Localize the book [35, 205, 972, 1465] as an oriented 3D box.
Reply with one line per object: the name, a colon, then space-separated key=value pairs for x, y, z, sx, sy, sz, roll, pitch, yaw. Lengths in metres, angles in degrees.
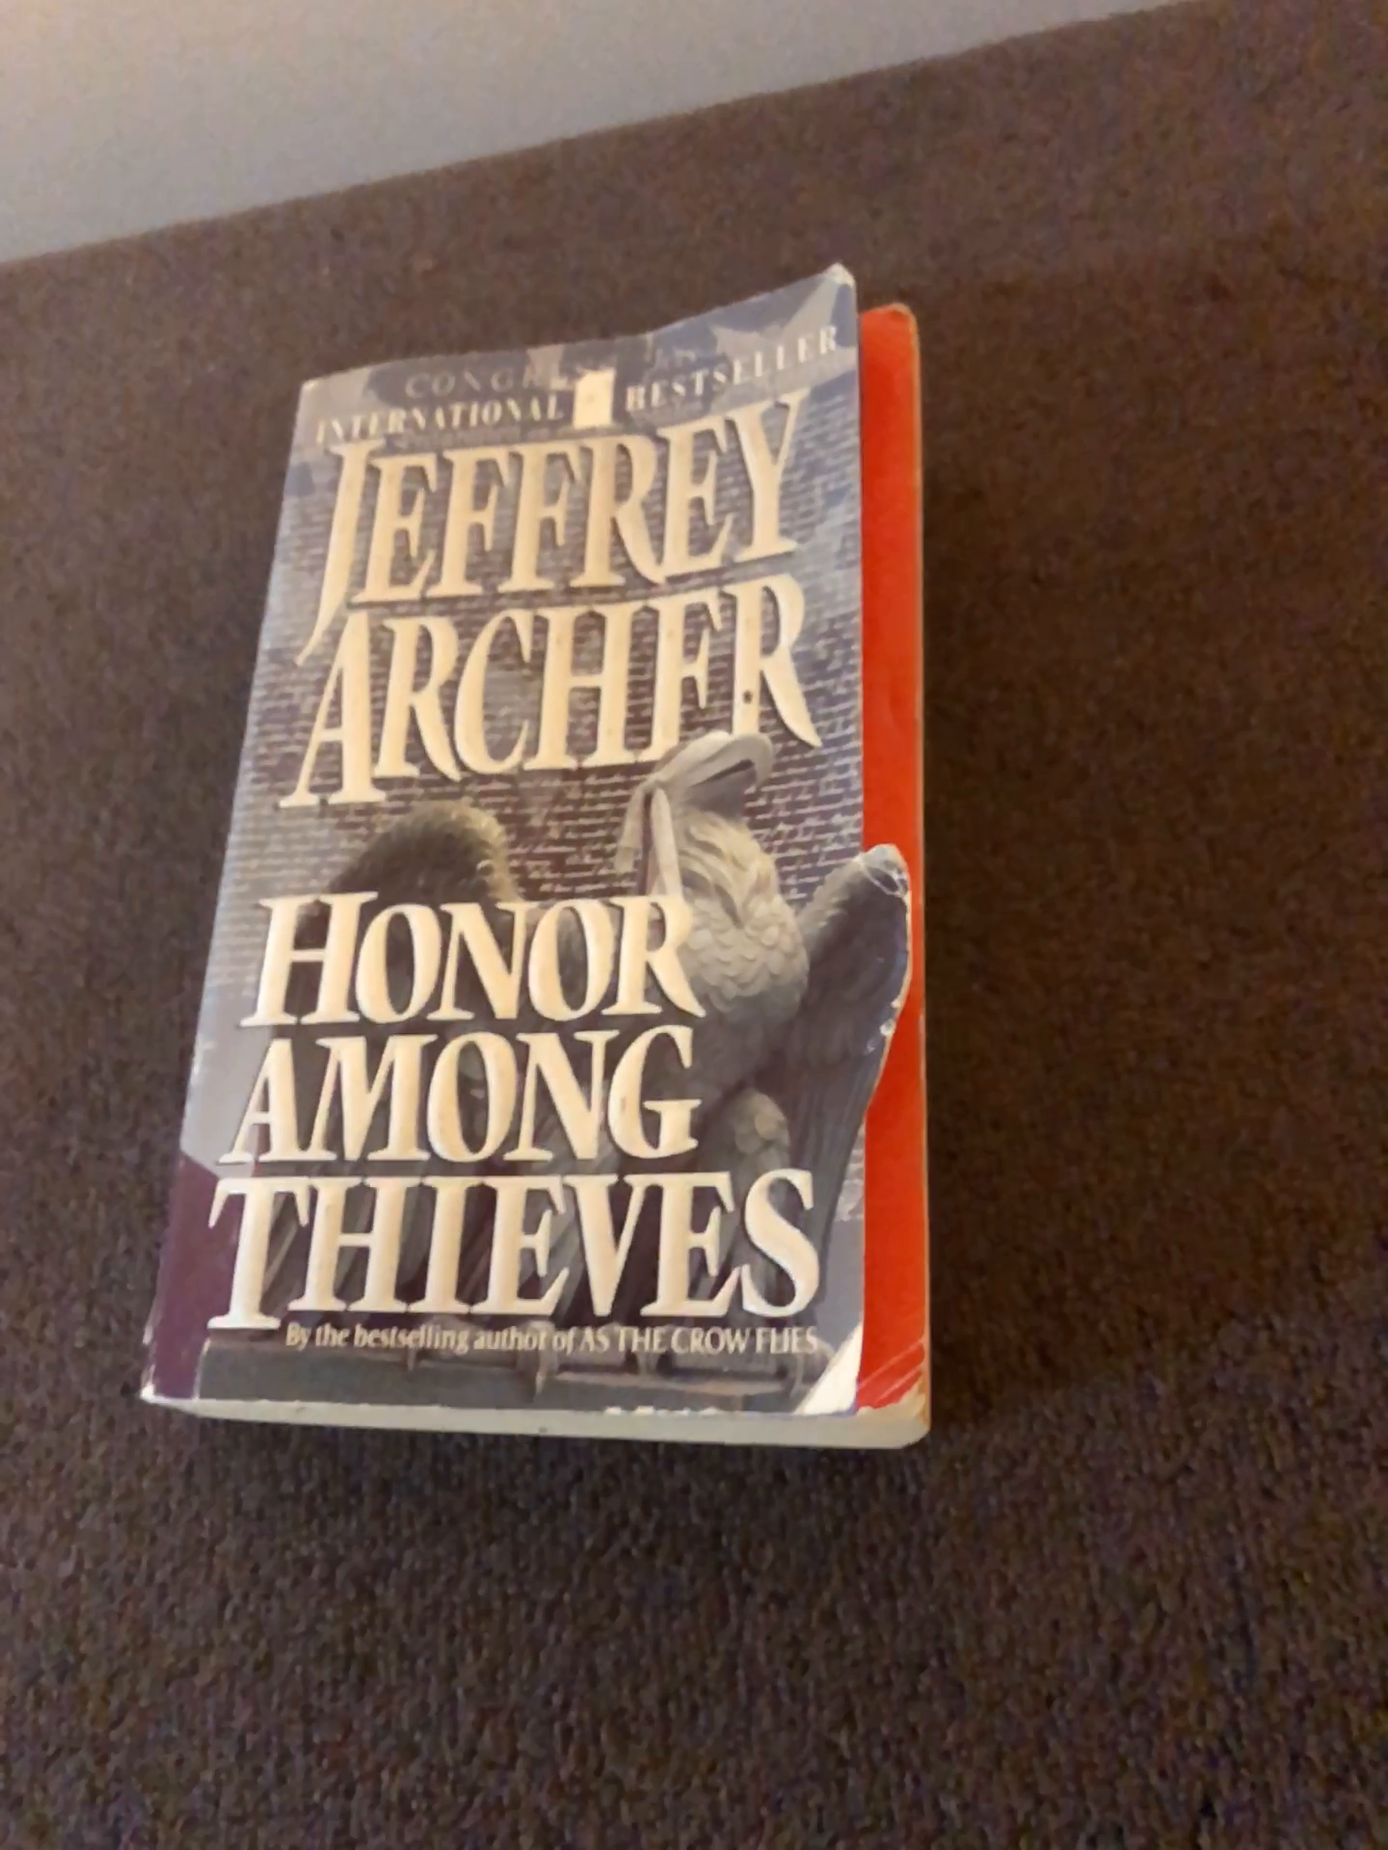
book: x=-0.019 y=-0.019 z=0.246 sx=0.120 sy=0.040 sz=0.190 roll=-1 pitch=68 yaw=10
